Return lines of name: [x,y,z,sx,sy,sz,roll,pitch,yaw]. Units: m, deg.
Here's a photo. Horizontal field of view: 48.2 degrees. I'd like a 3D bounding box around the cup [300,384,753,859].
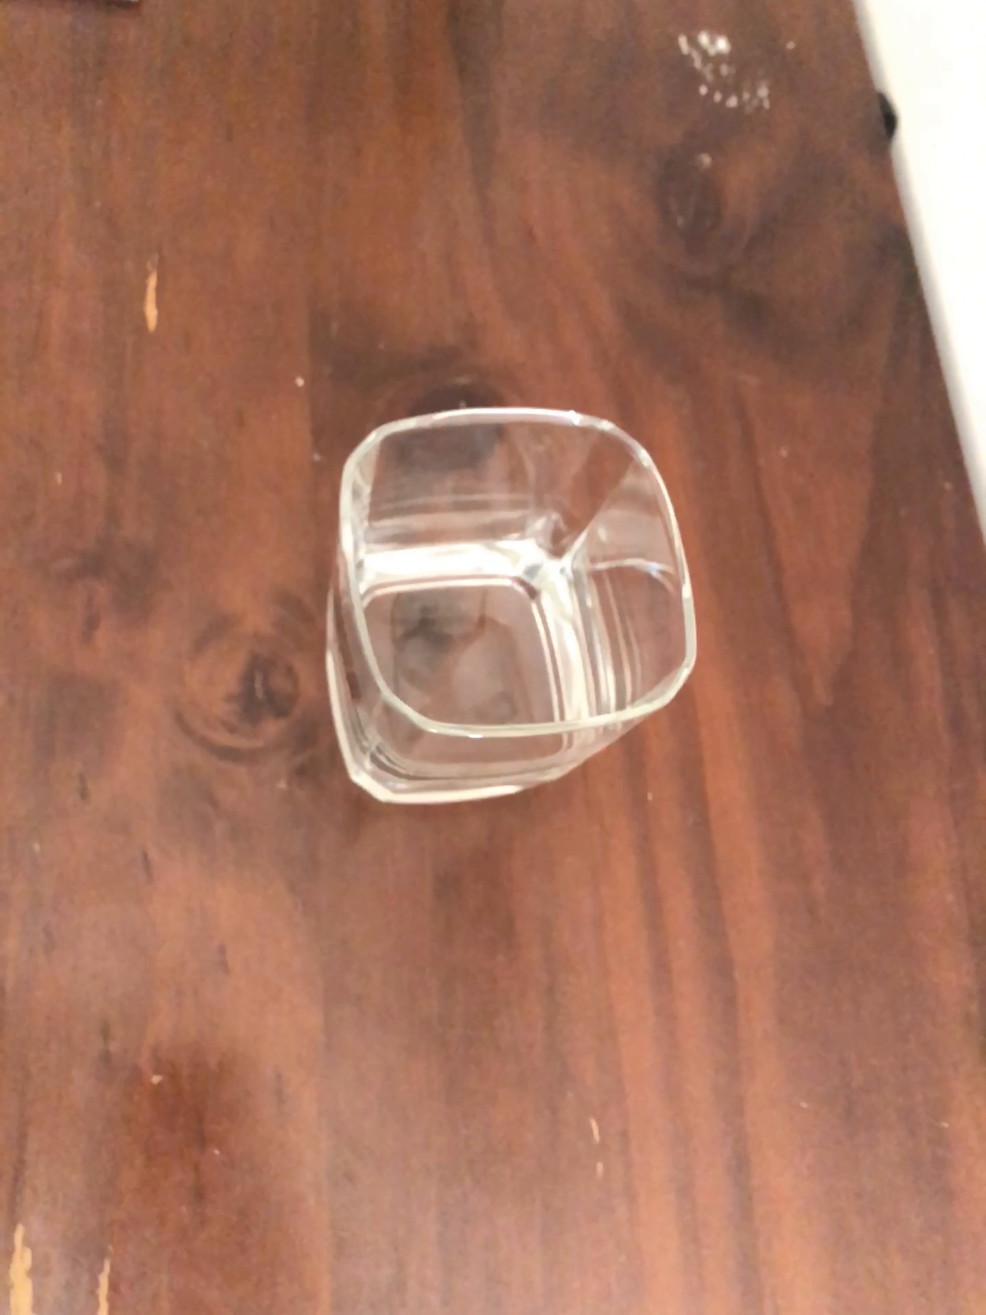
cup: [0.000,-0.006,0.272,0.081,0.085,0.086,4,70,-11]
